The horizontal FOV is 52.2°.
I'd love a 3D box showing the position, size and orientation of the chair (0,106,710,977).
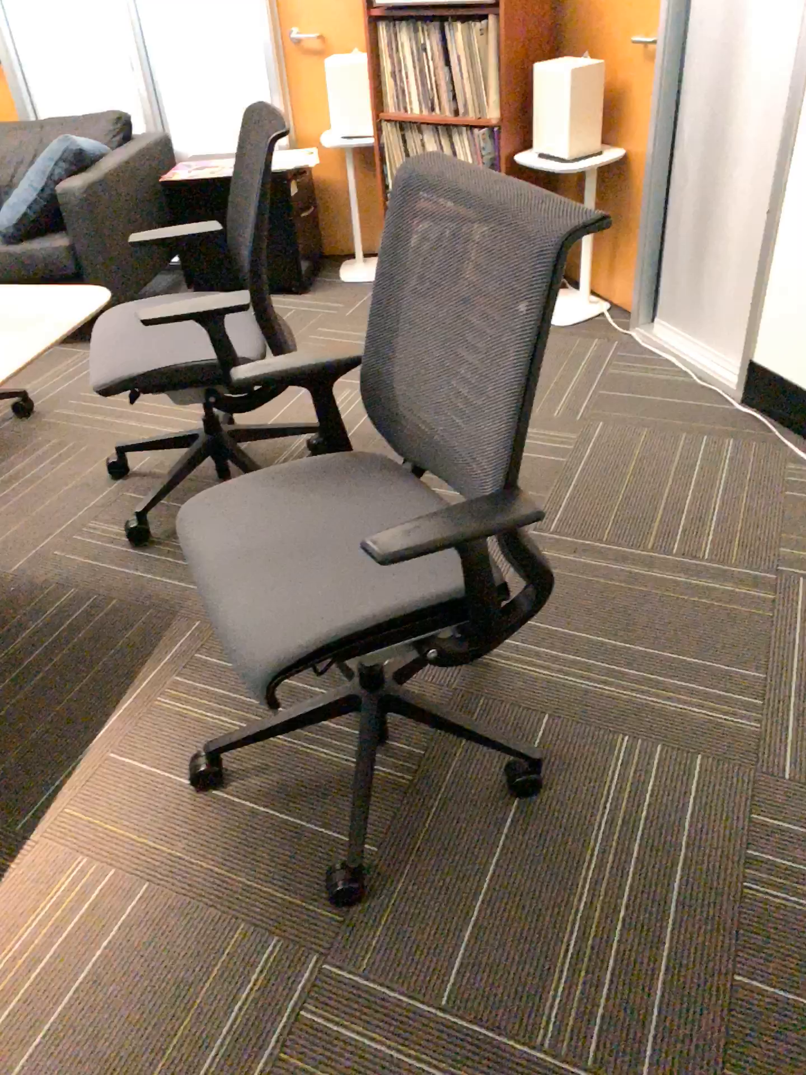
[{"bbox_3d":[-0.127,-0.040,1.476,0.800,1.113,0.795,-22,40,-20],"label":"chair"}]
